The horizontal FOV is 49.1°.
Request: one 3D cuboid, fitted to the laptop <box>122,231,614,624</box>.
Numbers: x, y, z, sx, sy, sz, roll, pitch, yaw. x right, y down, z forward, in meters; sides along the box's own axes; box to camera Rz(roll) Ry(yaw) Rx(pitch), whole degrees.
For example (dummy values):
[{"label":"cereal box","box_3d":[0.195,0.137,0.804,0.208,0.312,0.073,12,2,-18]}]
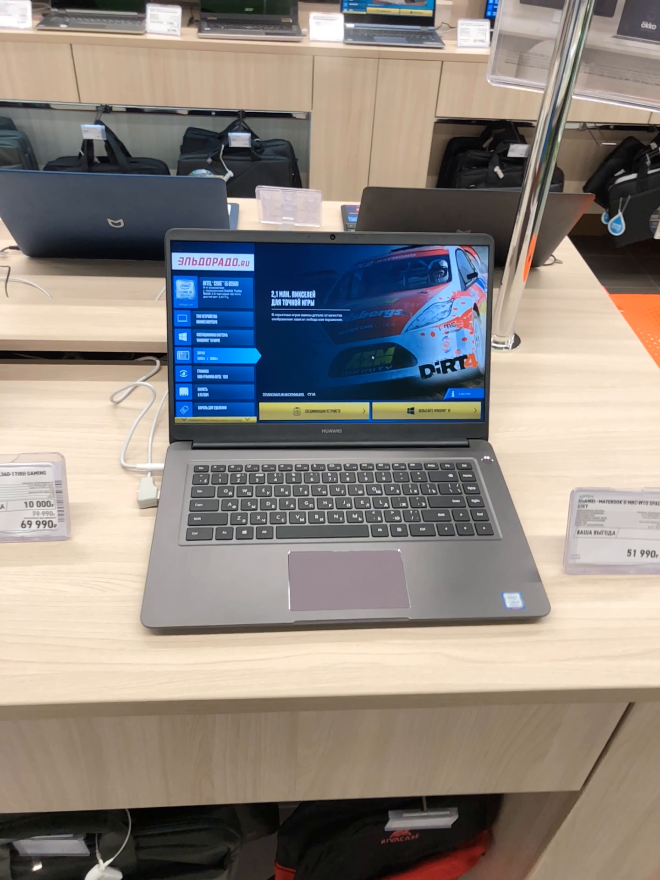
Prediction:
[{"label":"laptop","box_3d":[0.012,-0.034,0.694,0.344,0.180,0.359,-1,40,-6]}]
